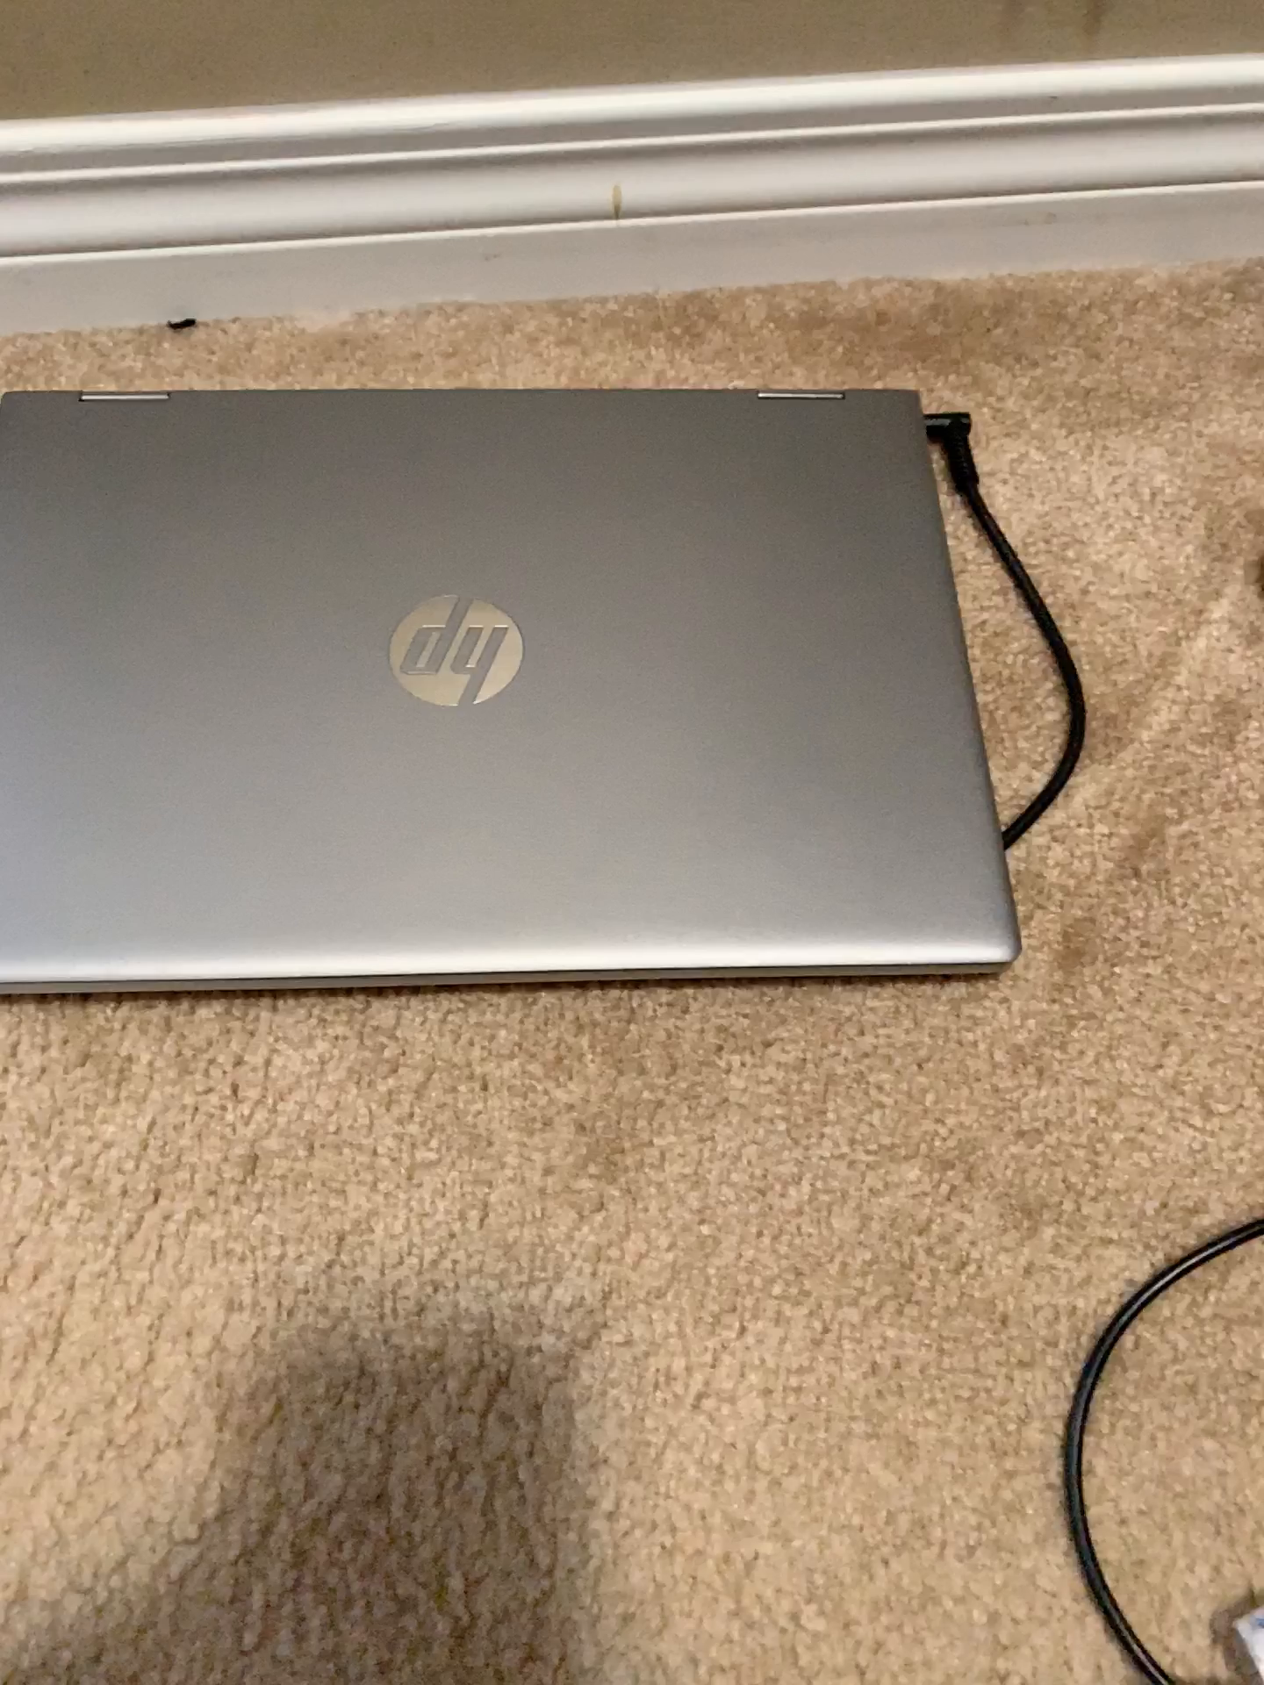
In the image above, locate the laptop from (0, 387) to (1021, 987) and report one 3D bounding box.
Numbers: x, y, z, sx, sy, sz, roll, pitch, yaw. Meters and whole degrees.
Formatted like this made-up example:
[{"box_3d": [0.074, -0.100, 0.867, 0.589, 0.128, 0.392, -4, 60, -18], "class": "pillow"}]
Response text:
[{"box_3d": [-0.053, -0.063, 0.406, 0.319, 0.001, 0.222, -1, 61, -4], "class": "laptop"}]
